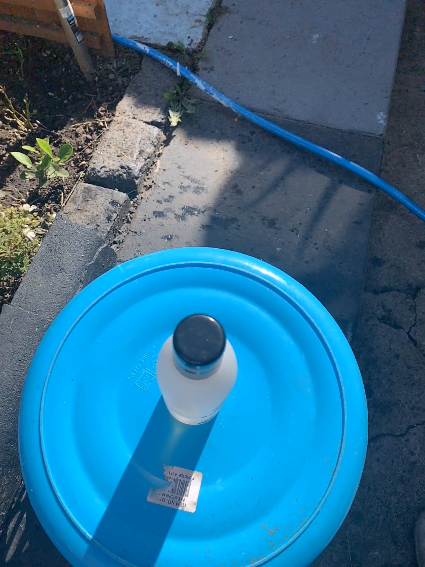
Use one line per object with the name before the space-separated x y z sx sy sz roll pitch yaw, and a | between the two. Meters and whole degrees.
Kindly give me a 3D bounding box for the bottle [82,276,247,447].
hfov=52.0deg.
bottle | -0.020 0.066 0.292 0.060 0.179 0.060 0 68 1
